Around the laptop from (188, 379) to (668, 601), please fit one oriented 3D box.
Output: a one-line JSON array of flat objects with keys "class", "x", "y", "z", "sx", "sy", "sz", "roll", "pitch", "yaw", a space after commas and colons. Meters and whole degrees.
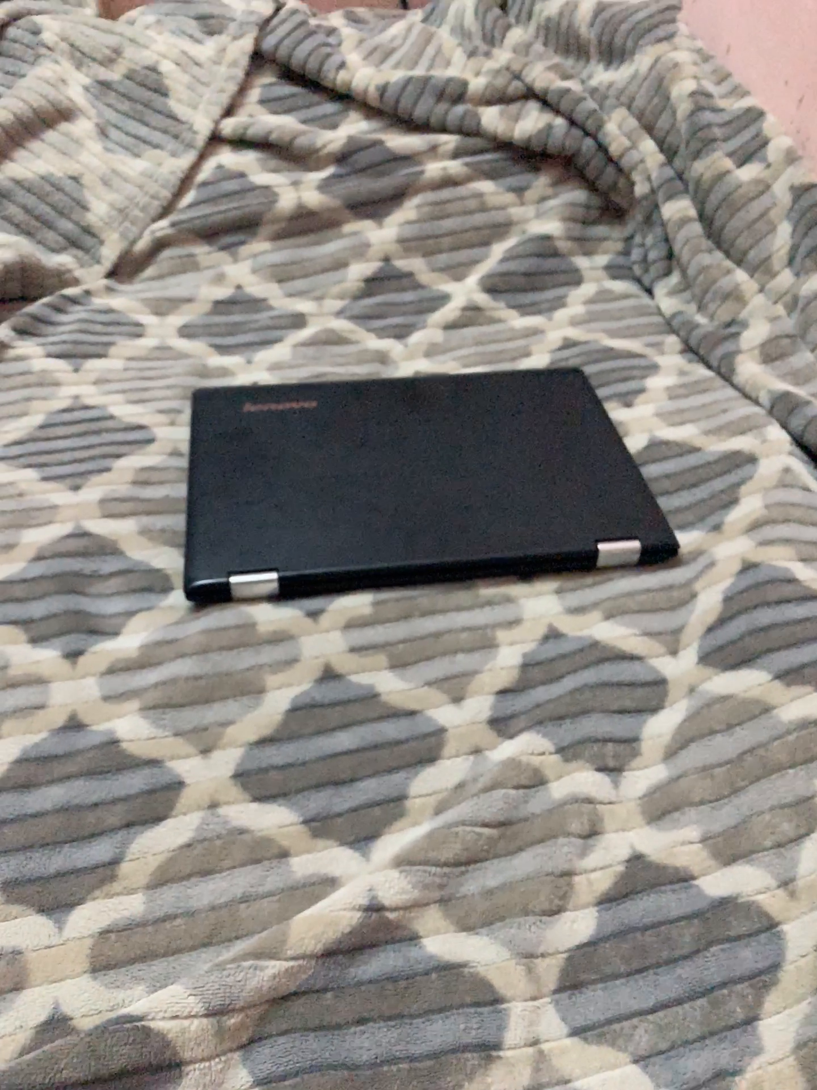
[{"class": "laptop", "x": 0.004, "y": -0.057, "z": 0.668, "sx": 0.339, "sy": 0.003, "sz": 0.229, "roll": -5, "pitch": 45, "yaw": -8}]
